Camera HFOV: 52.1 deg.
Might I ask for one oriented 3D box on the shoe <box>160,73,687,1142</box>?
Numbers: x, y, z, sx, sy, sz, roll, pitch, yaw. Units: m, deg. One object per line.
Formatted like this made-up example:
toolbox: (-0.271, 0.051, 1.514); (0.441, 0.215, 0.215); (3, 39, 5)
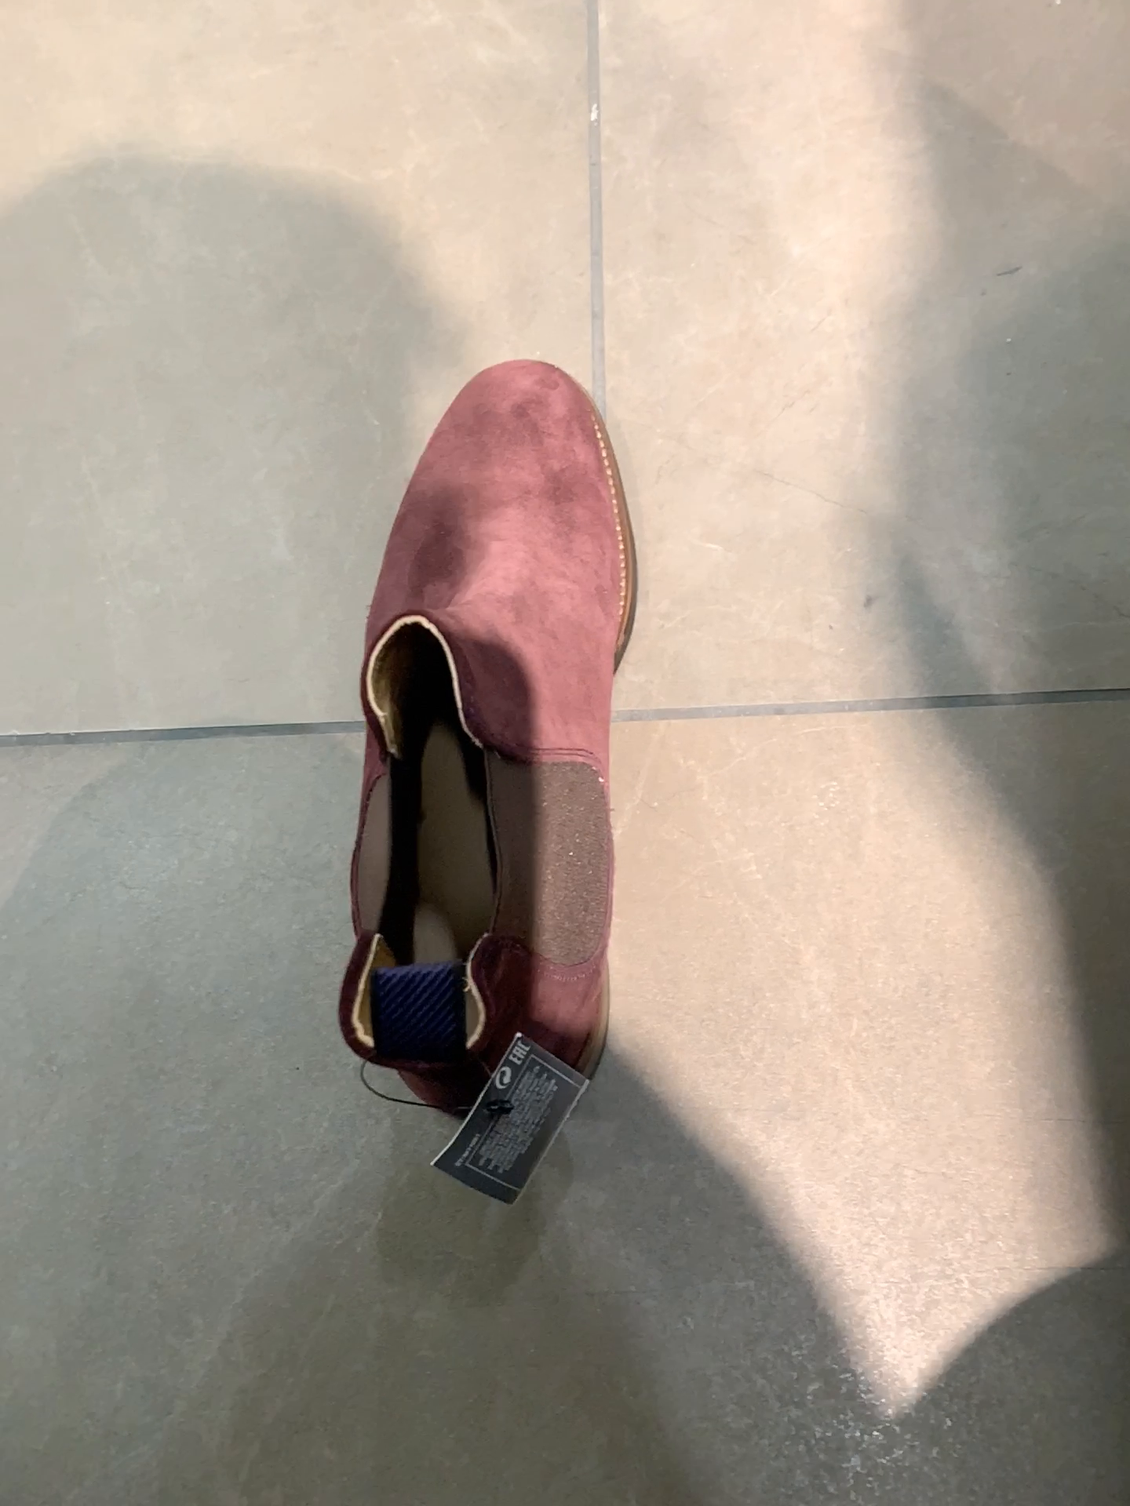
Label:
shoe: (-0.029, -0.036, 0.377); (0.114, 0.162, 0.298); (-4, 69, 5)
